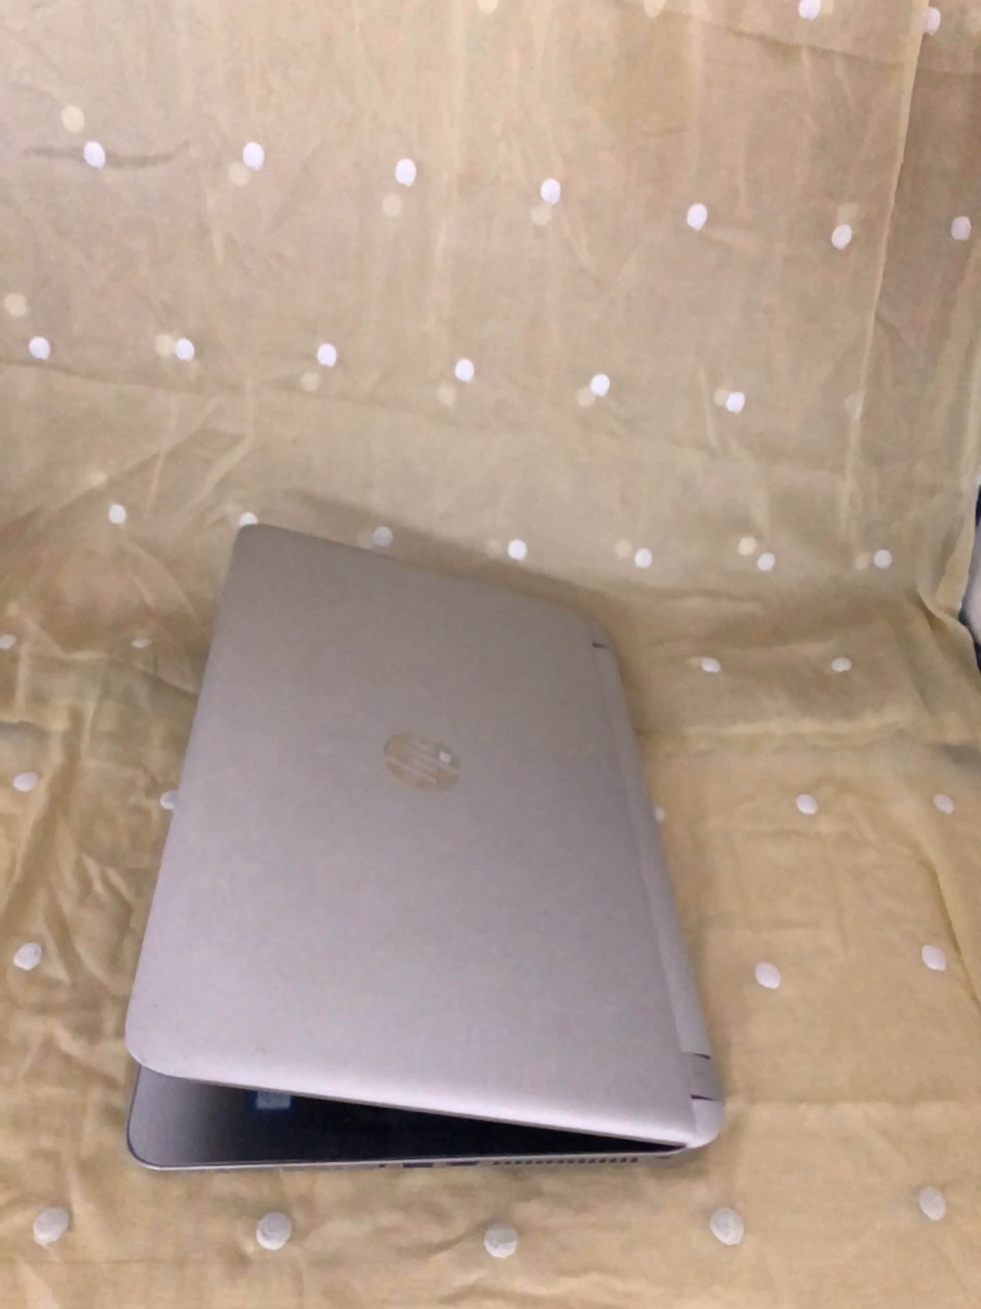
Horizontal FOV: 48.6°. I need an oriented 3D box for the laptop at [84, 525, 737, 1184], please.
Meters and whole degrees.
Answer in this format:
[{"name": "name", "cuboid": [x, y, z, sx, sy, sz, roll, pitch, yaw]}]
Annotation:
[{"name": "laptop", "cuboid": [-0.039, 0.068, 0.570, 0.243, 0.077, 0.367, 1, 39, -5]}]
